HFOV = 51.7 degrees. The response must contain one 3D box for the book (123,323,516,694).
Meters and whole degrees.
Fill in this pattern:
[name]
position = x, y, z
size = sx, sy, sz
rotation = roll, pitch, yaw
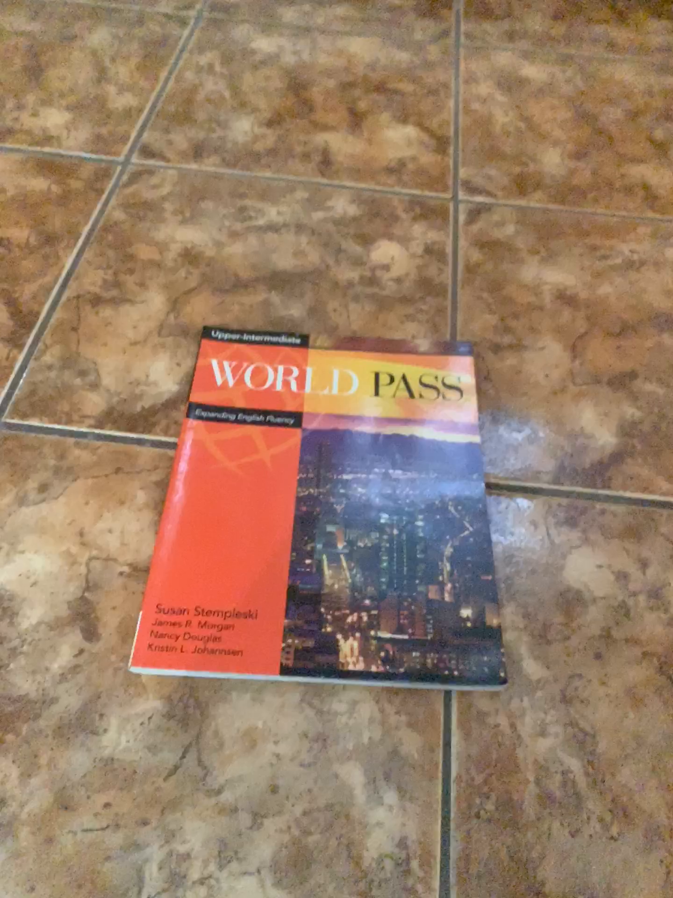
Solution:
[book]
position = -0.004, 0.021, 0.474
size = 0.219, 0.016, 0.272
rotation = 3, 53, -1
